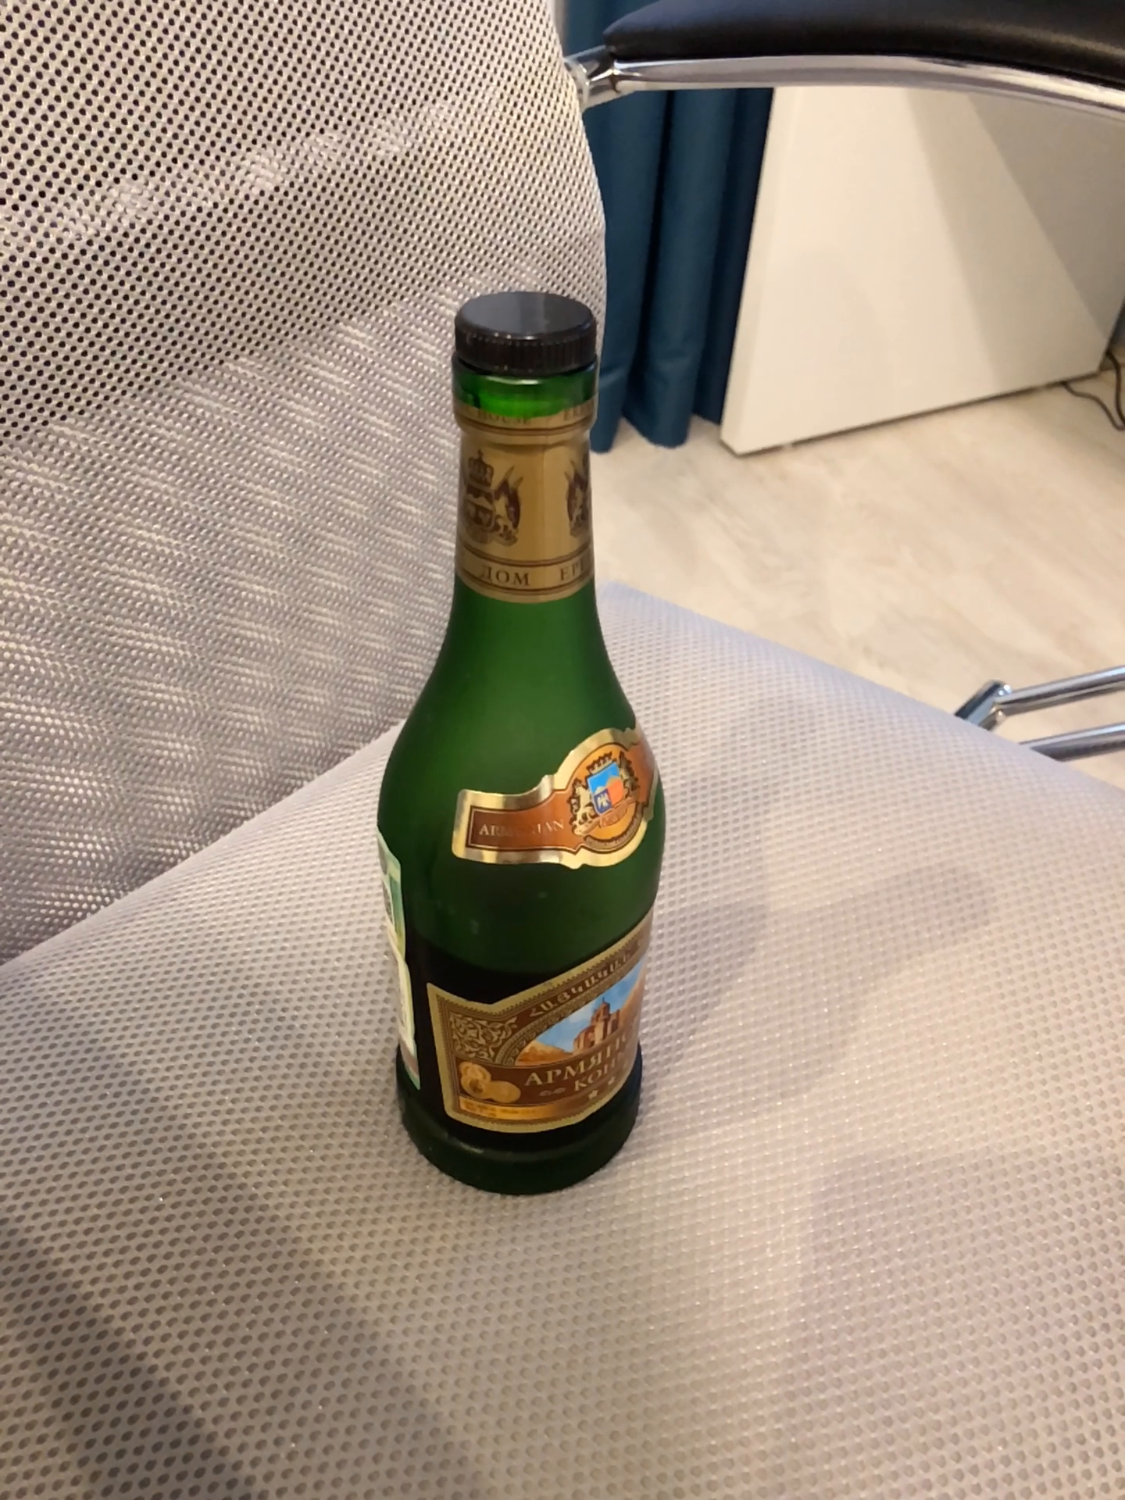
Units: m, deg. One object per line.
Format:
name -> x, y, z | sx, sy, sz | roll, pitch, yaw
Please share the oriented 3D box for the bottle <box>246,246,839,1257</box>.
bottle -> -0.008, 0.017, 0.305 | 0.078, 0.238, 0.074 | 1, 43, -1
